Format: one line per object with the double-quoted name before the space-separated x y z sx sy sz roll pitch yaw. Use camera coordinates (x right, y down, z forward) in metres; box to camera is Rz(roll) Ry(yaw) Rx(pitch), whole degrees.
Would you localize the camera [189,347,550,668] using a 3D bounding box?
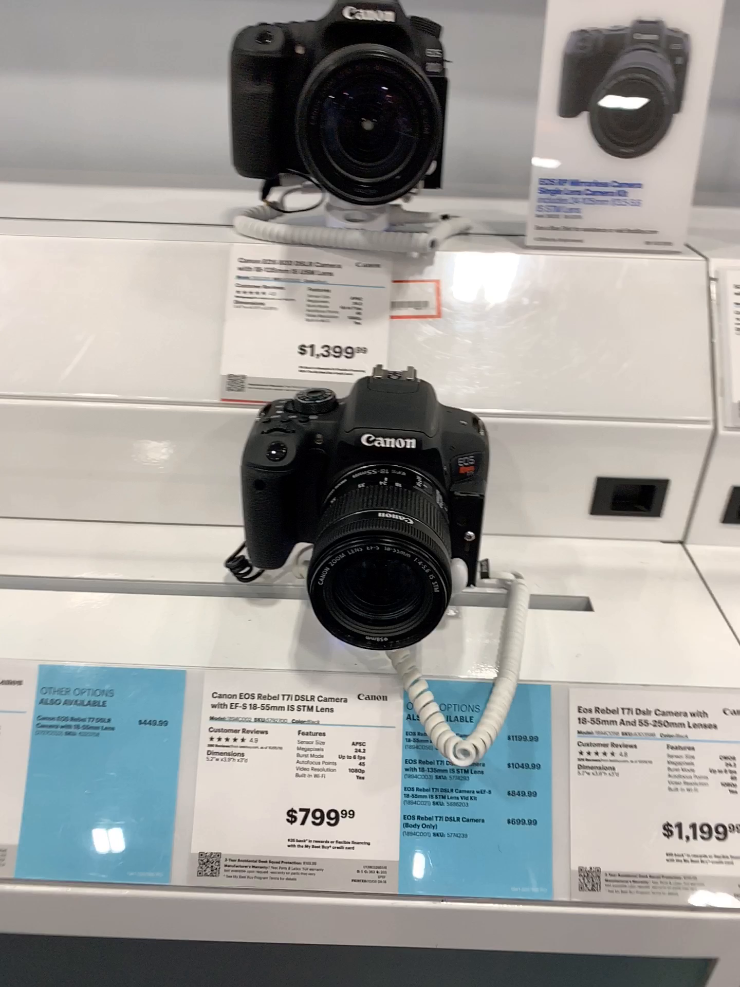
"camera" 0.000 0.000 0.376 0.140 0.099 0.131 2 29 1
